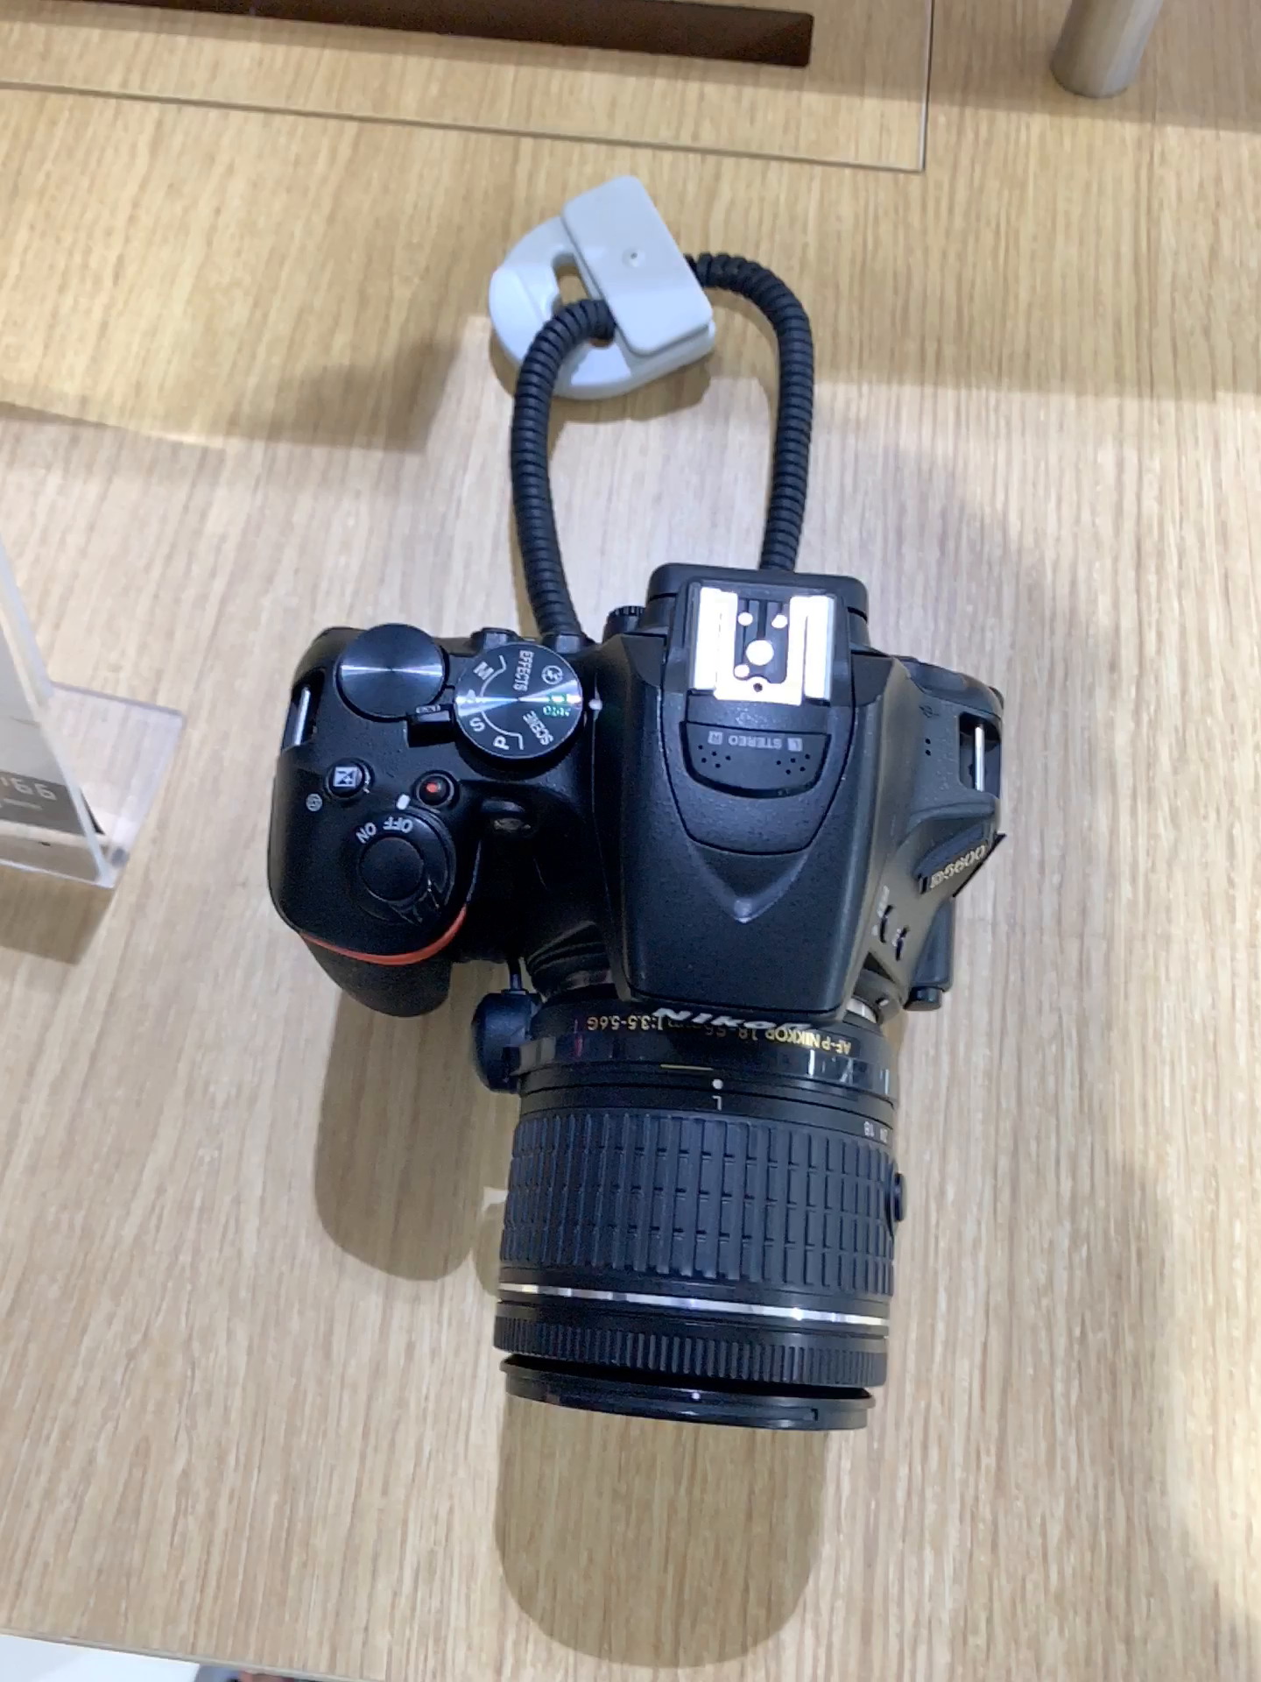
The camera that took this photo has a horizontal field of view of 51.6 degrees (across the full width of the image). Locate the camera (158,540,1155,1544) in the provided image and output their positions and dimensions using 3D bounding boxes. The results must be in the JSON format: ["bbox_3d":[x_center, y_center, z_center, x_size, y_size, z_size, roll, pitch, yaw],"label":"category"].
[{"bbox_3d":[0.006,0.031,0.202,0.110,0.080,0.120,4,70,1],"label":"camera"}]
